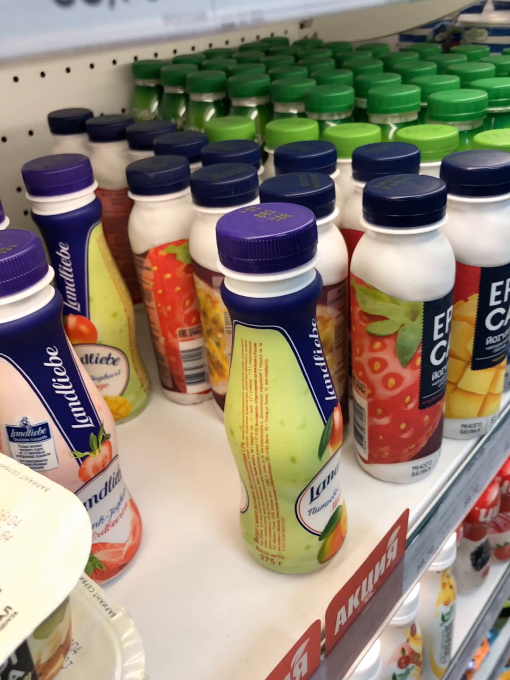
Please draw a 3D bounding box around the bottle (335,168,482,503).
[{"bbox_3d":[0.079,0.002,0.311,0.048,0.172,0.051,-4,32,2],"label":"bottle"}]

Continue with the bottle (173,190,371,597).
[{"bbox_3d":[0.014,0.030,0.261,0.053,0.177,0.055,-4,32,2],"label":"bottle"}]

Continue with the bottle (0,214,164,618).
[{"bbox_3d":[-0.096,0.040,0.264,0.053,0.178,0.057,-4,32,2],"label":"bottle"}]
